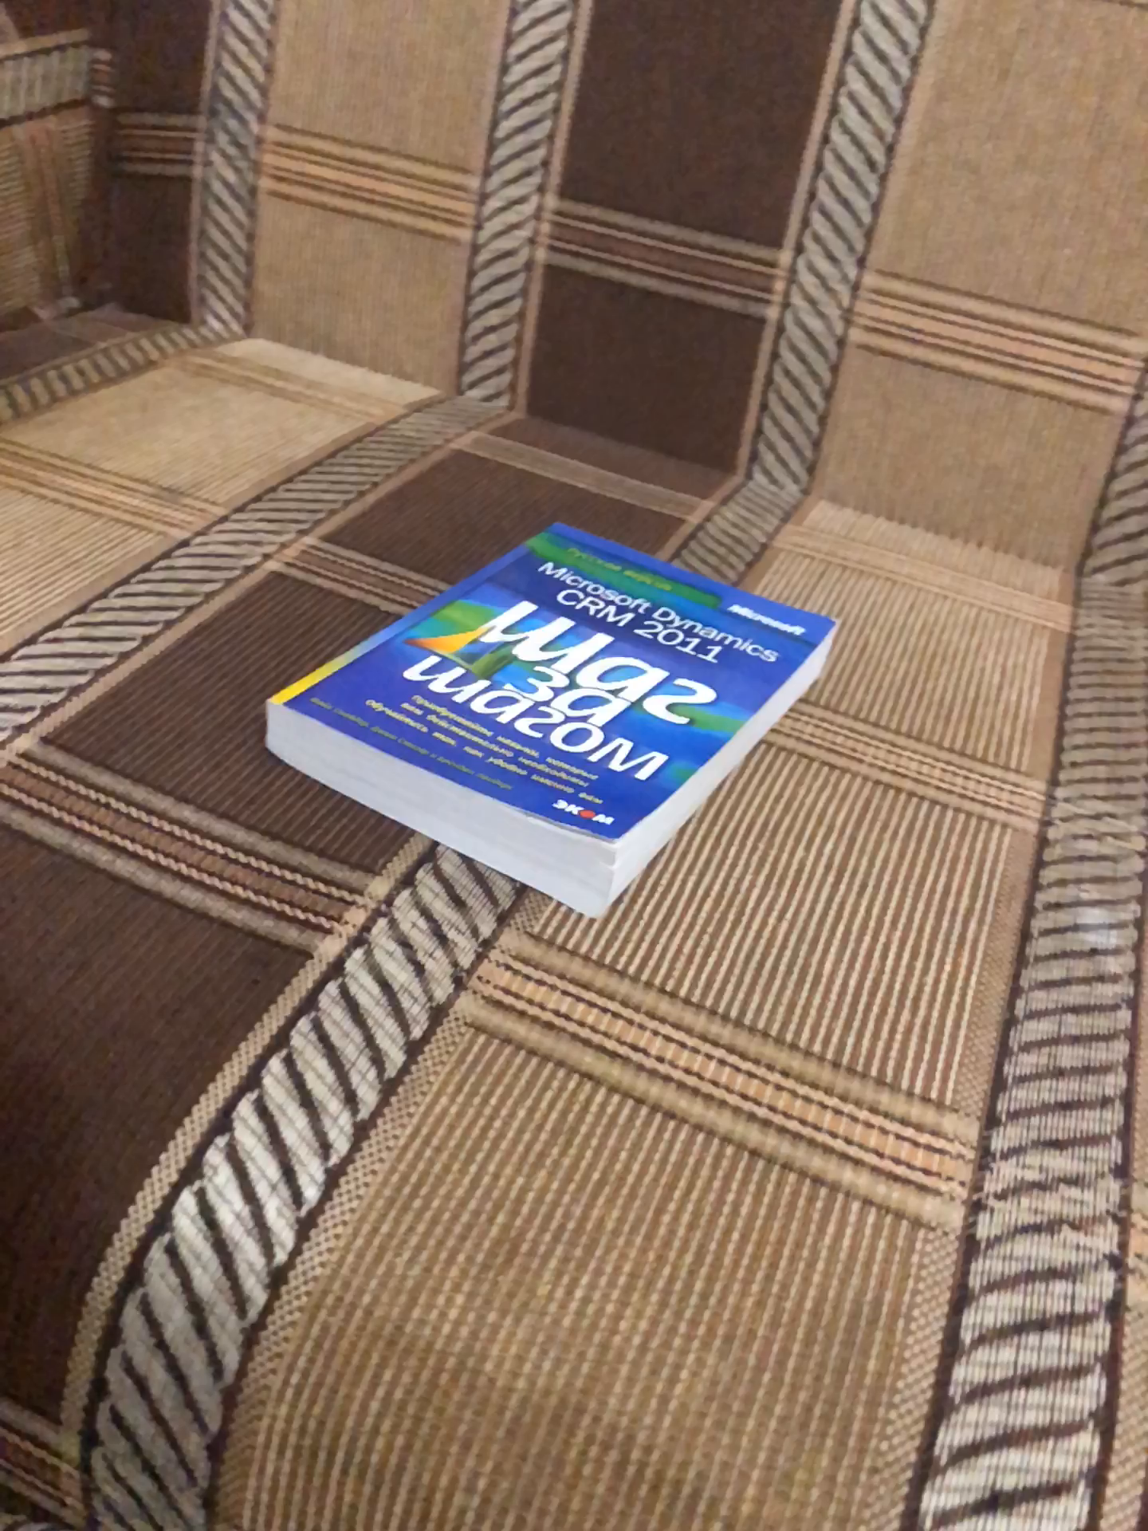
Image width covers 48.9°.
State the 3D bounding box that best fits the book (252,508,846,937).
[{"bbox_3d":[-0.001,-0.032,0.502,0.150,0.033,0.201,24,39,21],"label":"book"}]
